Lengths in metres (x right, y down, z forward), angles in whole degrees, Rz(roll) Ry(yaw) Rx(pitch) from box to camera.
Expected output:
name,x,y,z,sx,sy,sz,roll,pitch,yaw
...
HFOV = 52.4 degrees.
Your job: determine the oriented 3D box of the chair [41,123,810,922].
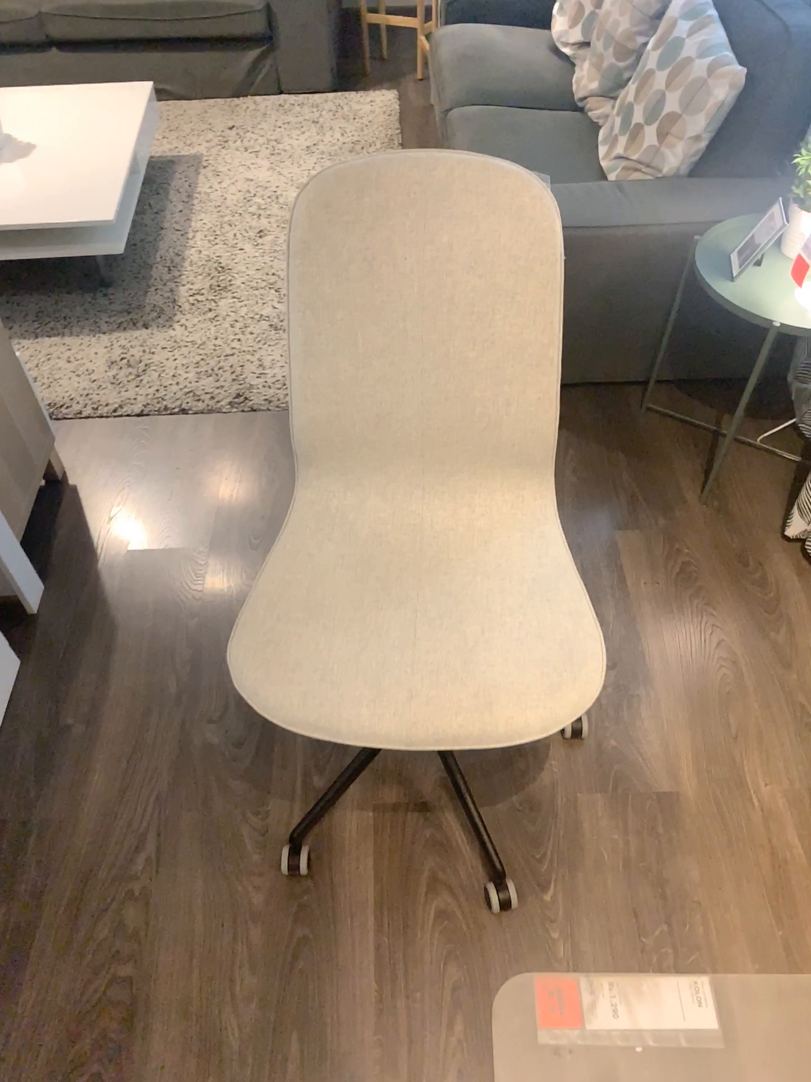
name,x,y,z,sx,sy,sz,roll,pitch,yaw
chair,0.039,0.047,1.243,0.630,1.006,0.713,0,50,0
